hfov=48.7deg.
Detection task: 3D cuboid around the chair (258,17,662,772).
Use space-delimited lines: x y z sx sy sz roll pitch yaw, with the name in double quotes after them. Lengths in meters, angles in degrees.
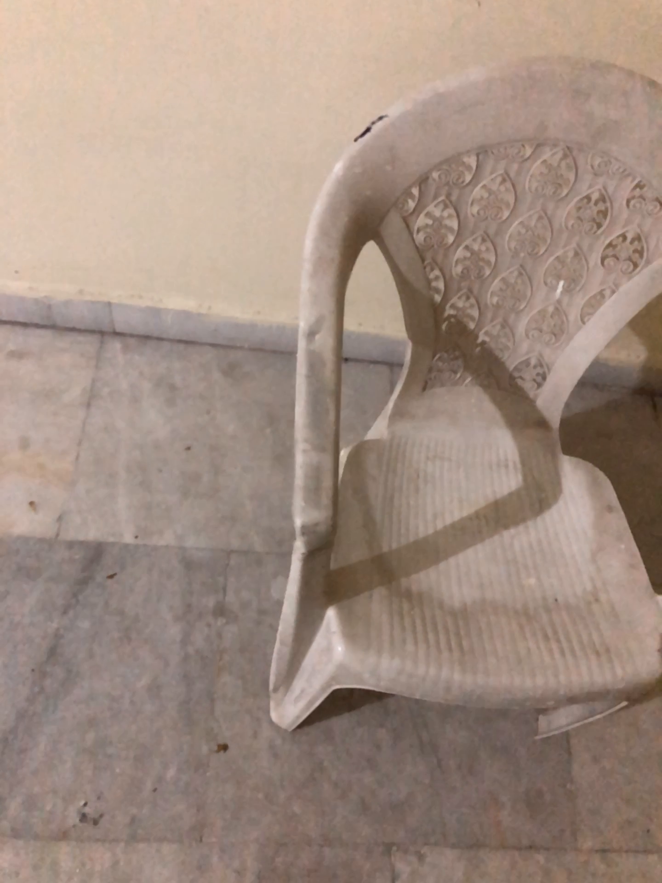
0.220 0.076 0.909 0.531 0.835 0.512 6 60 -6 "chair"
